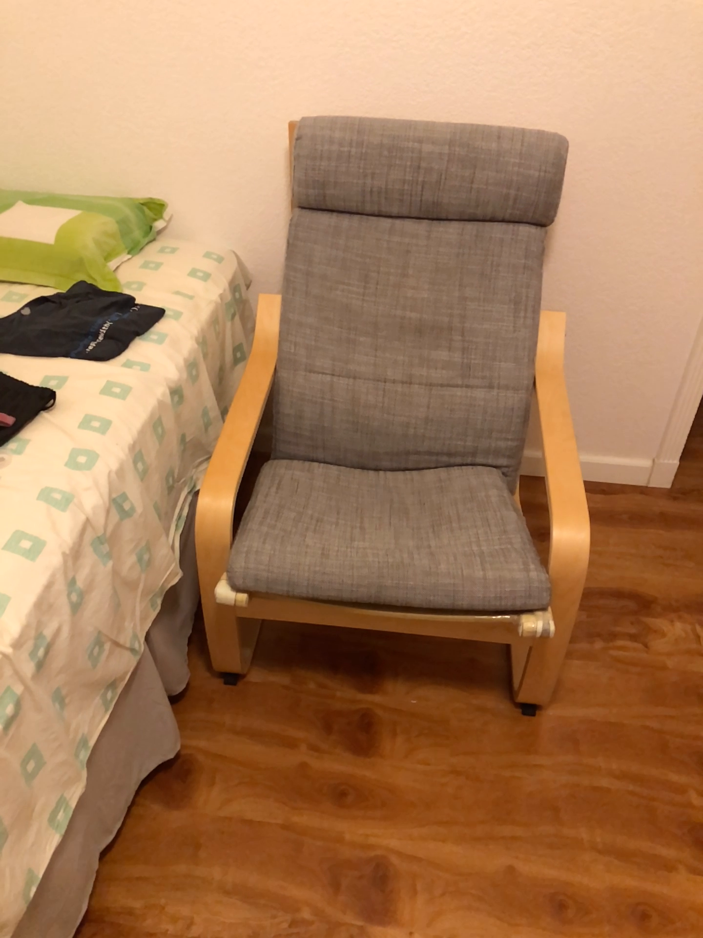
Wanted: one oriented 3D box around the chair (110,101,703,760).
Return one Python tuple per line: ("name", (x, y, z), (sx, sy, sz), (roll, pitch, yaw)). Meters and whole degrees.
("chair", (0.096, -0.108, 1.452), (0.680, 0.885, 0.805), (6, 37, 5))
